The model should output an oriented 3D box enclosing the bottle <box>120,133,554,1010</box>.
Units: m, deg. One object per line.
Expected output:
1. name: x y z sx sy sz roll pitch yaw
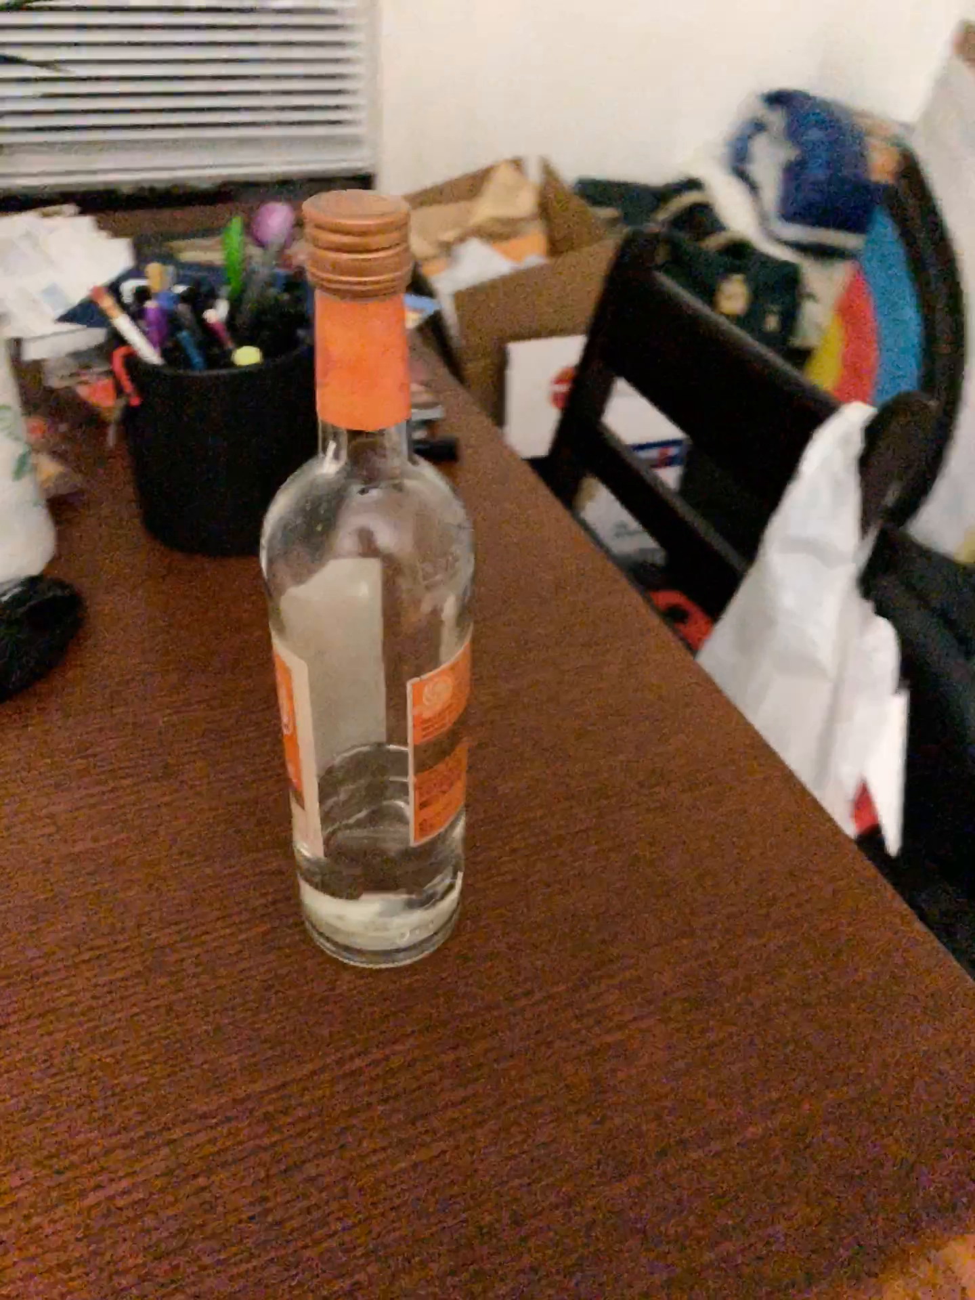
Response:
1. bottle: -0.041 -0.005 0.357 0.080 0.298 0.090 15 41 14
